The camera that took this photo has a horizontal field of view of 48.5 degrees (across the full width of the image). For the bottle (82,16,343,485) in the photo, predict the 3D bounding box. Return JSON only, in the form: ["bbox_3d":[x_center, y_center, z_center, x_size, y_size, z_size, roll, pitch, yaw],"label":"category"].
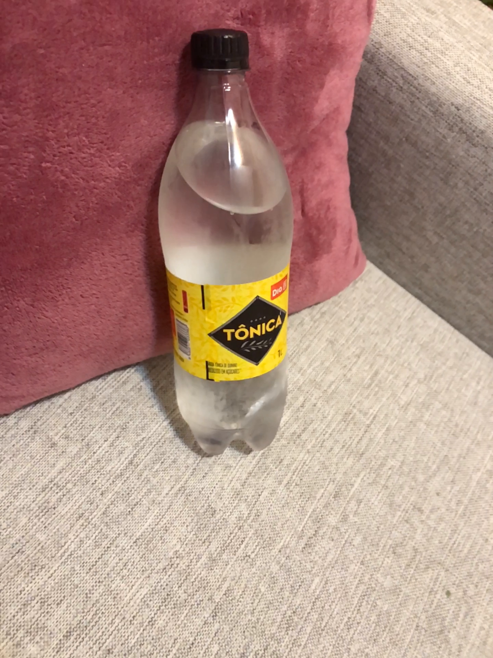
[{"bbox_3d":[-0.021,-0.045,0.357,0.100,0.269,0.100,0,33,0],"label":"bottle"}]
